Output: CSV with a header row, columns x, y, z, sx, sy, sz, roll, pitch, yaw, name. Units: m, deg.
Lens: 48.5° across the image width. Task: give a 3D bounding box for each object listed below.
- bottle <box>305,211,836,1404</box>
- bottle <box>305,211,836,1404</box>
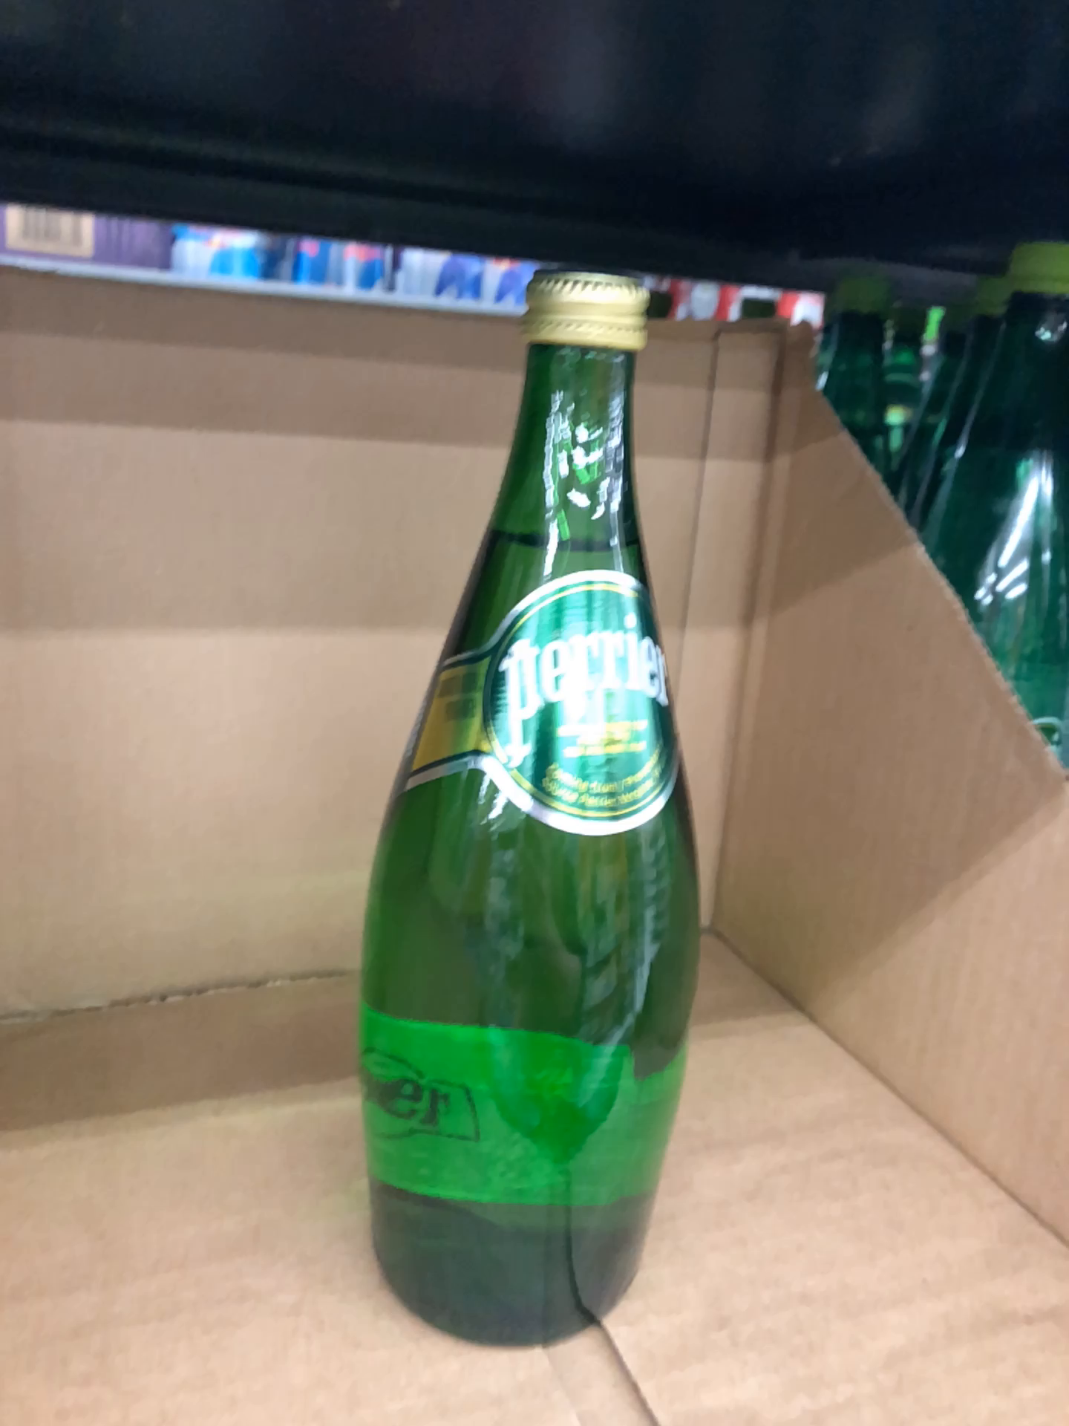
x,y,z,sx,sy,sz,roll,pitch,yaw,name
-0.003,0.025,0.304,0.090,0.269,0.080,-2,16,-22,bottle
-0.003,0.025,0.304,0.090,0.269,0.080,-2,16,-22,bottle
